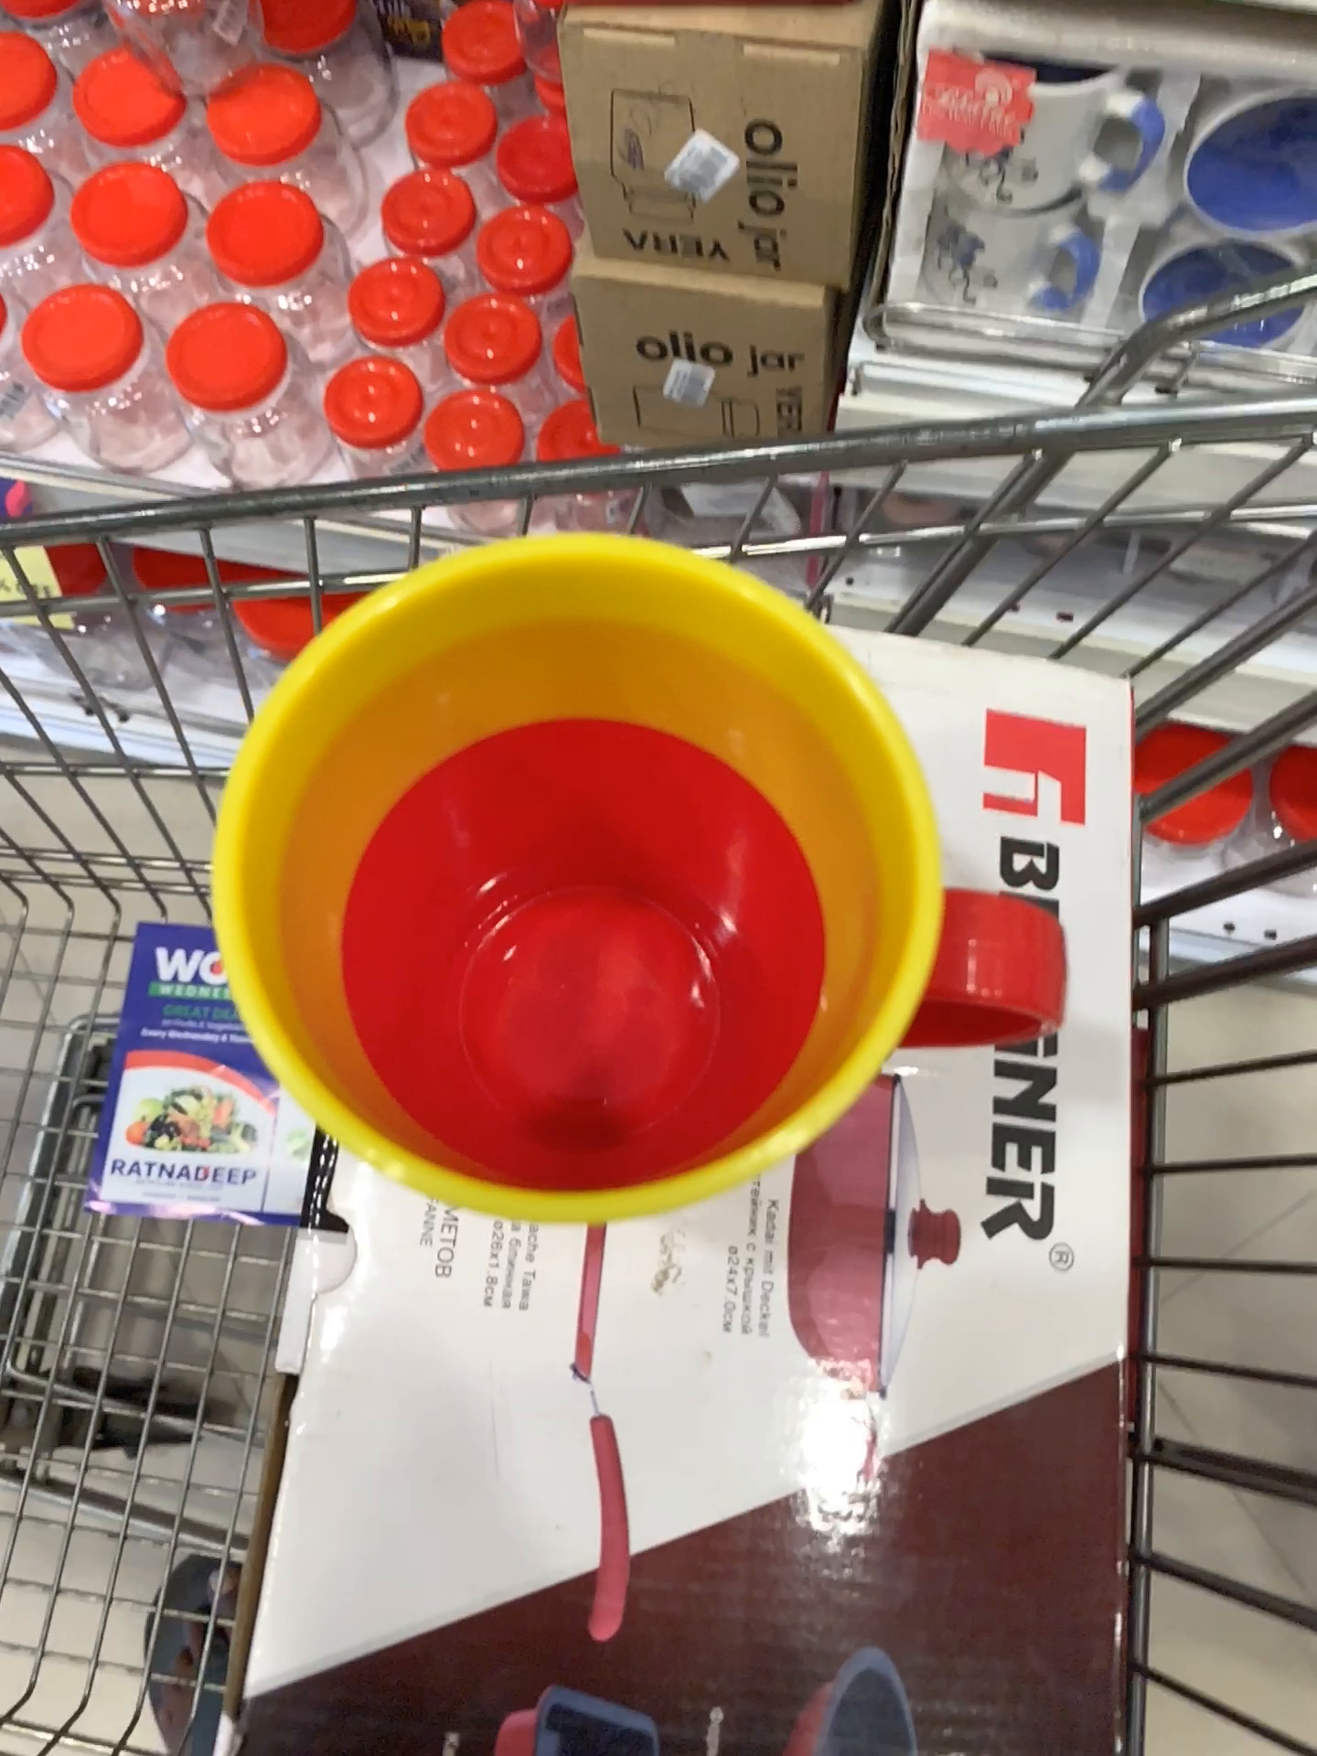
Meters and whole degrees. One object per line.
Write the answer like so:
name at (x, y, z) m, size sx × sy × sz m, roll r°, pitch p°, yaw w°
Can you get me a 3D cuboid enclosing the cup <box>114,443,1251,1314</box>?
cup at (0.006, 0.007, 0.182) m, size 0.110 × 0.080 × 0.080 m, roll 9°, pitch 74°, yaw 2°
